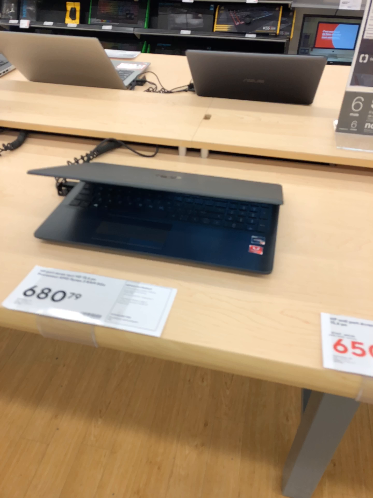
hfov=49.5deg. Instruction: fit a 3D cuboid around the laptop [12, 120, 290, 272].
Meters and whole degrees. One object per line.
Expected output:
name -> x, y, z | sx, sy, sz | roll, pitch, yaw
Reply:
laptop -> -0.032, -0.102, 0.653 | 0.366, 0.090, 0.243 | 9, 40, 9
